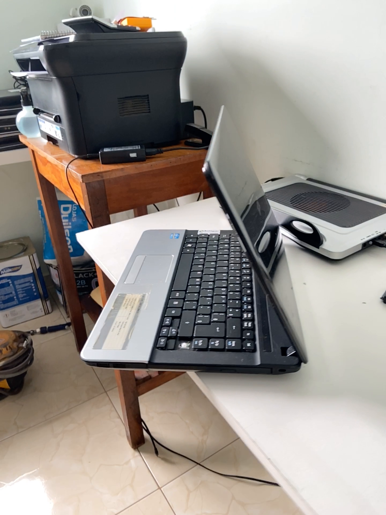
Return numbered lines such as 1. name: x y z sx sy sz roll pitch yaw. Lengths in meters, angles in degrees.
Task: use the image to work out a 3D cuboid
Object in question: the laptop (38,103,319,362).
1. laptop: 0.006 -0.064 0.523 0.238 0.211 0.328 0 28 7
